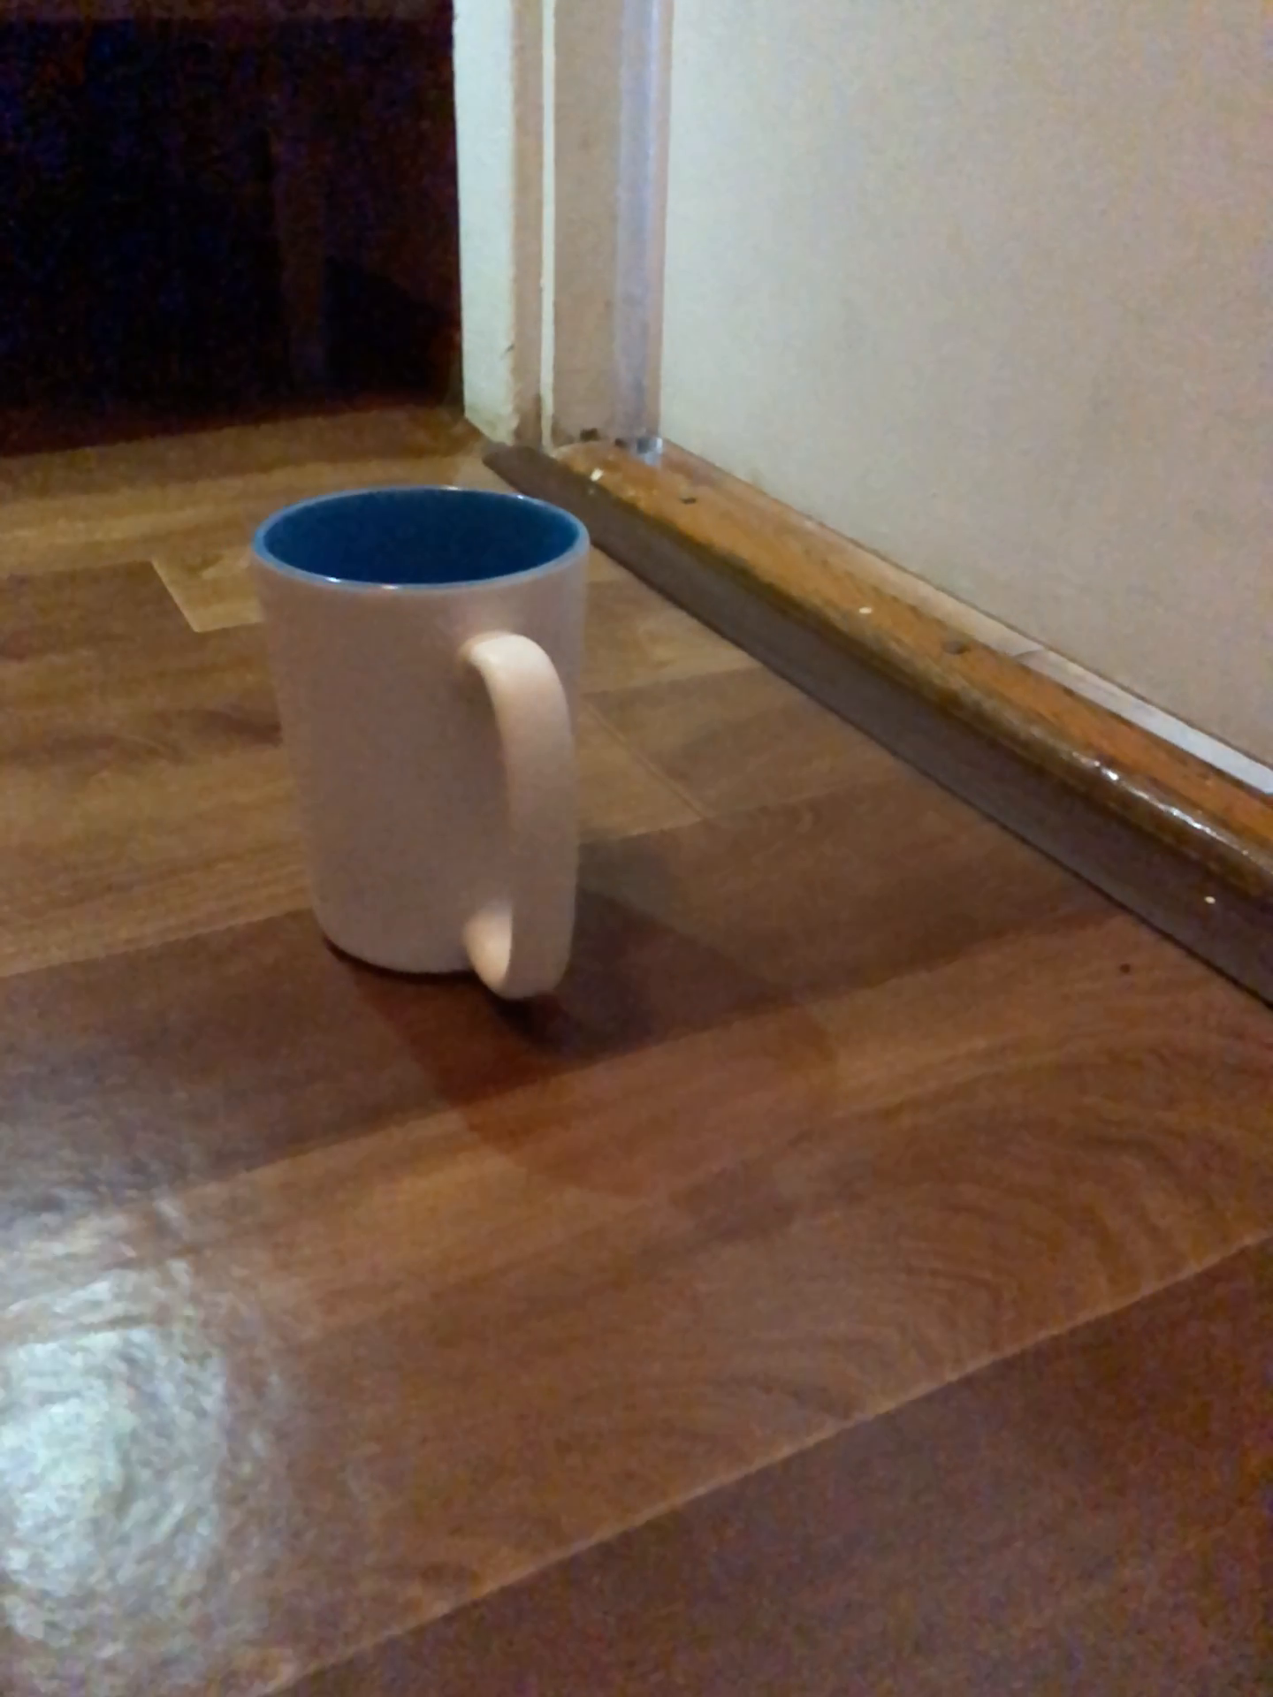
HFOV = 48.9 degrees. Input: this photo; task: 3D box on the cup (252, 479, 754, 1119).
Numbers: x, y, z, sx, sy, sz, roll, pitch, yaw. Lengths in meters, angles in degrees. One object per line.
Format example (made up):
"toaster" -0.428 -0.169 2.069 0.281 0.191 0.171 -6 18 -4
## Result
"cup" -0.041 -0.022 0.376 0.088 0.112 0.130 -11 32 -20
